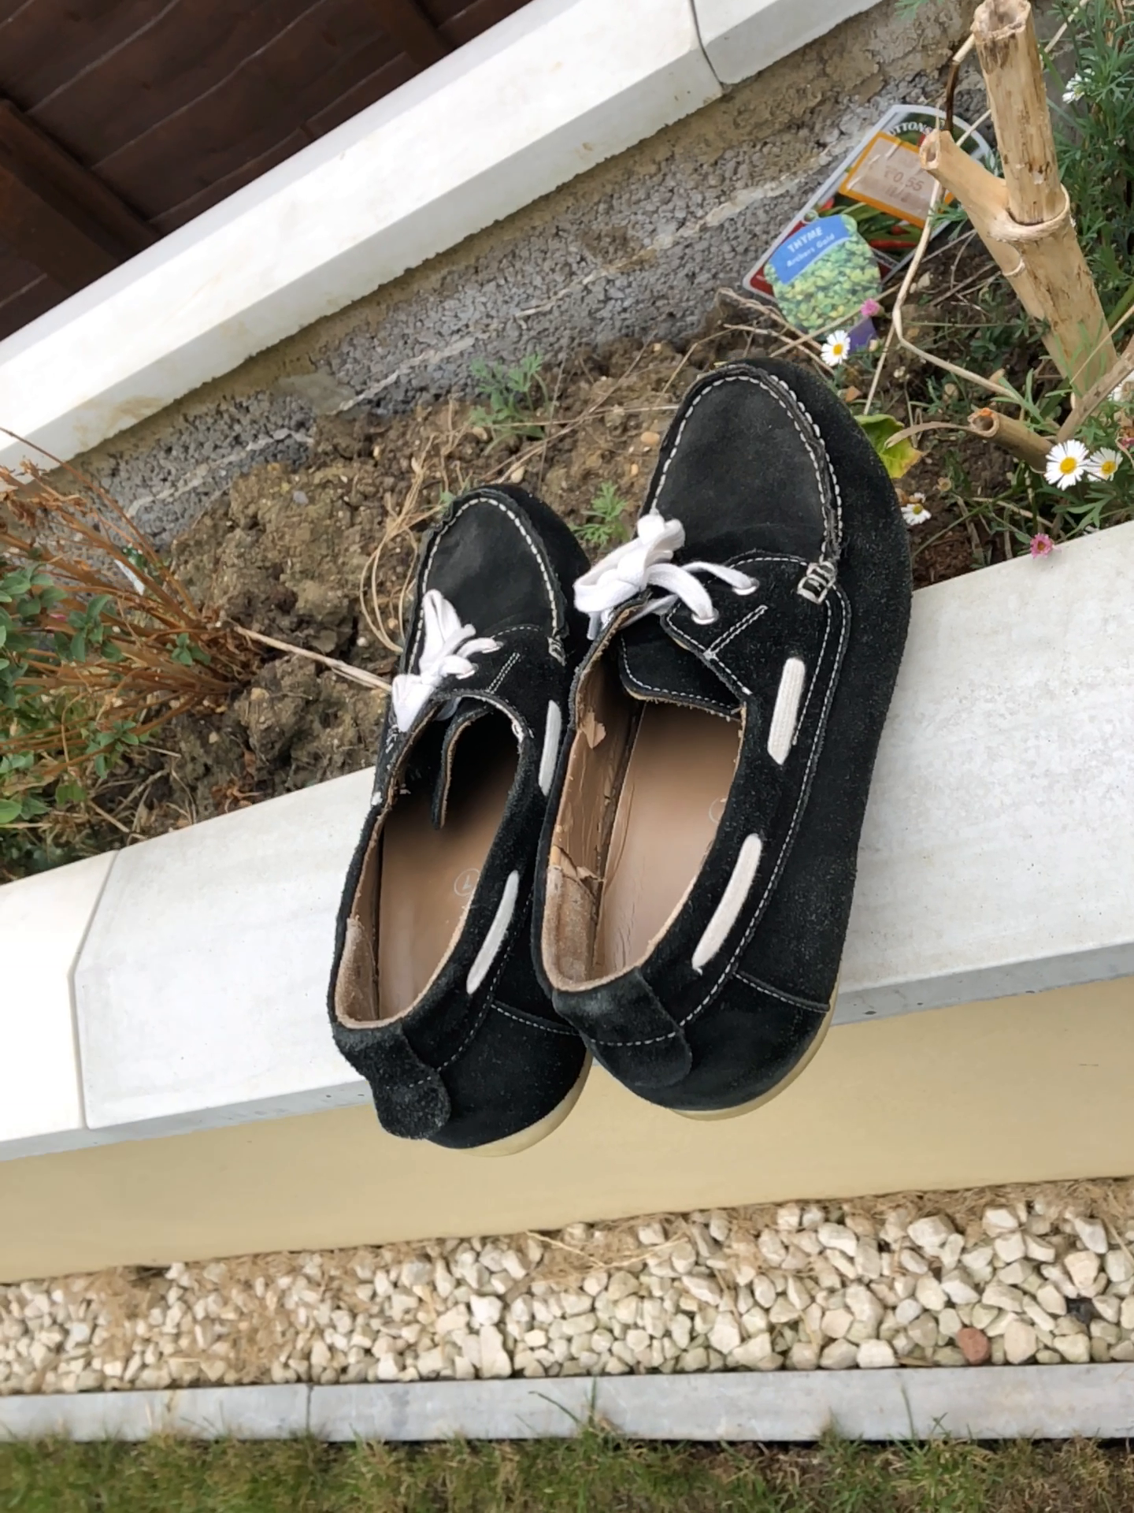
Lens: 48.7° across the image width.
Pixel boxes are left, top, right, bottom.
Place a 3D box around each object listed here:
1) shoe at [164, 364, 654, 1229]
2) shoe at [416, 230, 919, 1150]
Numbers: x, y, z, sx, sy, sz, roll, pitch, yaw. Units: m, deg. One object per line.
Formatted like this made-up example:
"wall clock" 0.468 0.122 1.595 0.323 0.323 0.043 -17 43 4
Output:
"shoe" -0.050 0.000 0.482 0.120 0.090 0.311 -22 46 24
"shoe" 0.050 -0.031 0.427 0.110 0.090 0.301 -12 51 30
